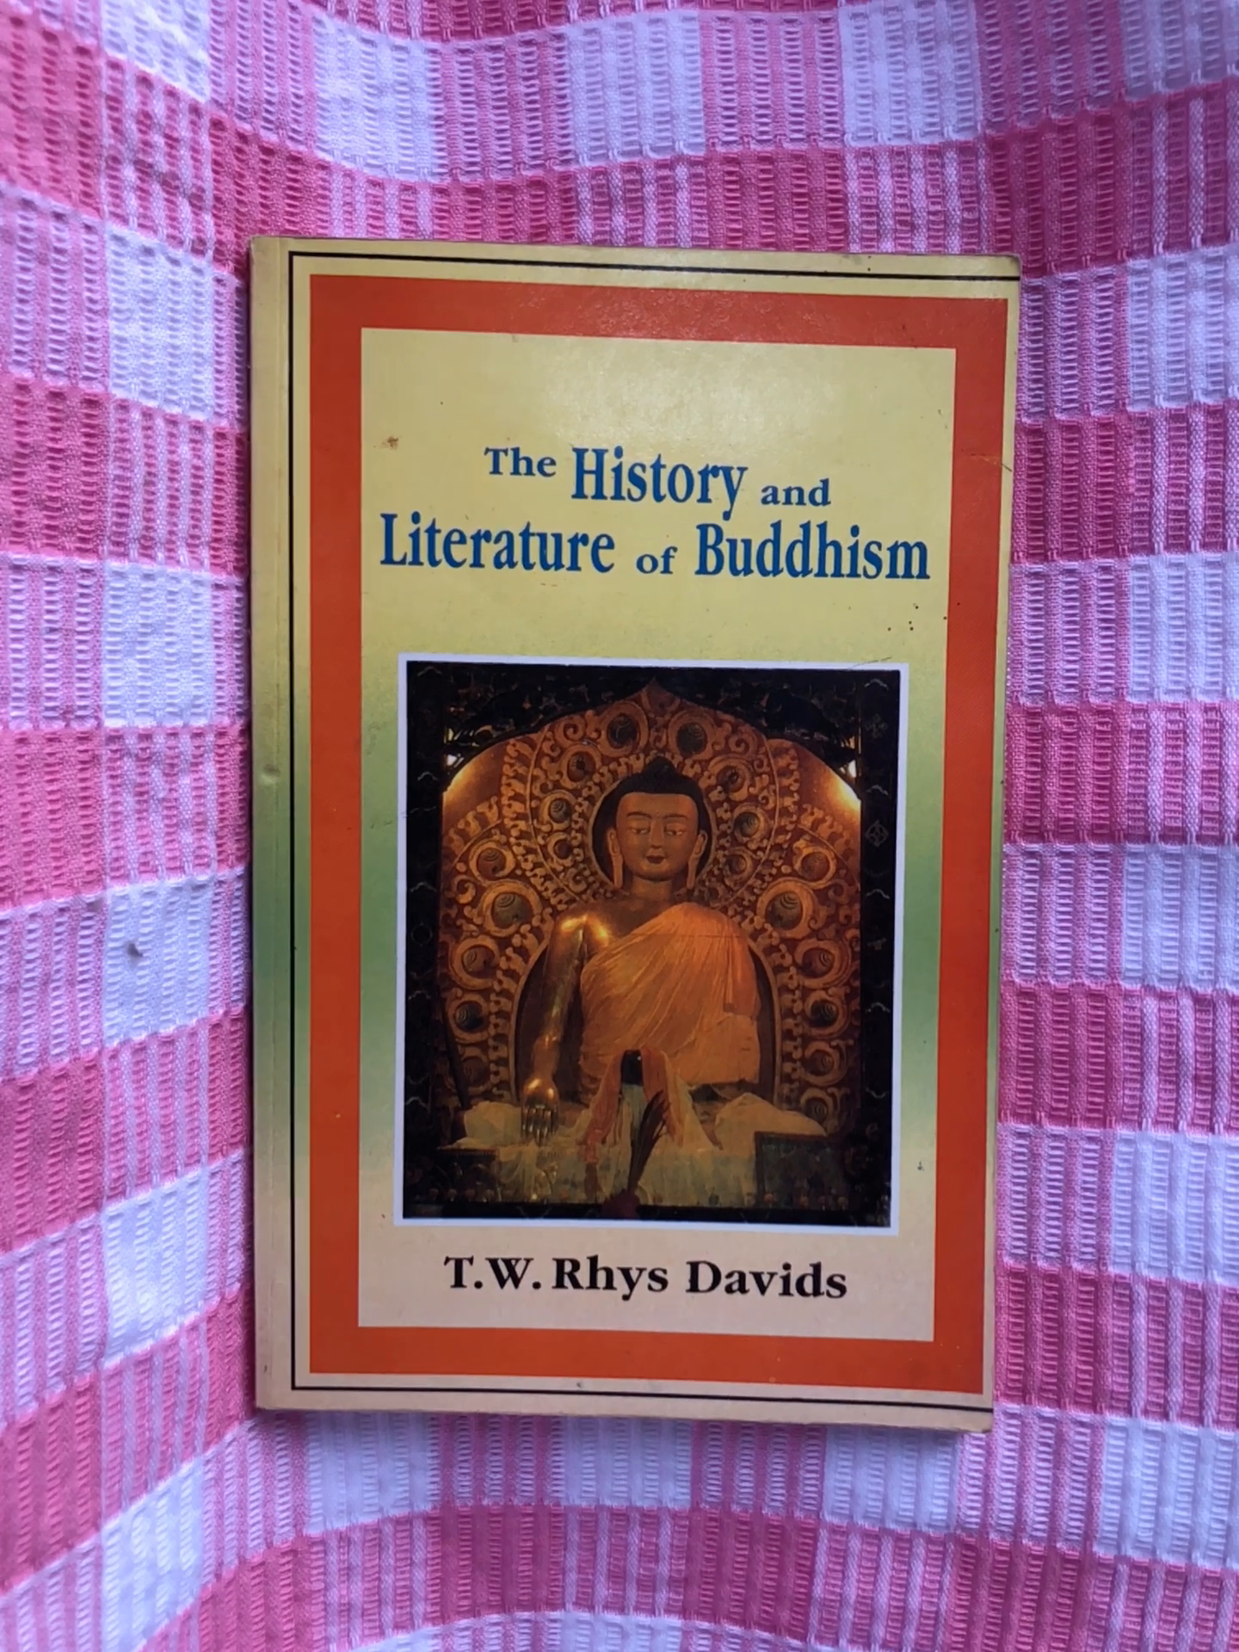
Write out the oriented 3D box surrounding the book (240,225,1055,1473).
[{"bbox_3d":[0.002,0.005,0.257,0.020,0.140,0.220,-55,147,-85],"label":"book"}]
